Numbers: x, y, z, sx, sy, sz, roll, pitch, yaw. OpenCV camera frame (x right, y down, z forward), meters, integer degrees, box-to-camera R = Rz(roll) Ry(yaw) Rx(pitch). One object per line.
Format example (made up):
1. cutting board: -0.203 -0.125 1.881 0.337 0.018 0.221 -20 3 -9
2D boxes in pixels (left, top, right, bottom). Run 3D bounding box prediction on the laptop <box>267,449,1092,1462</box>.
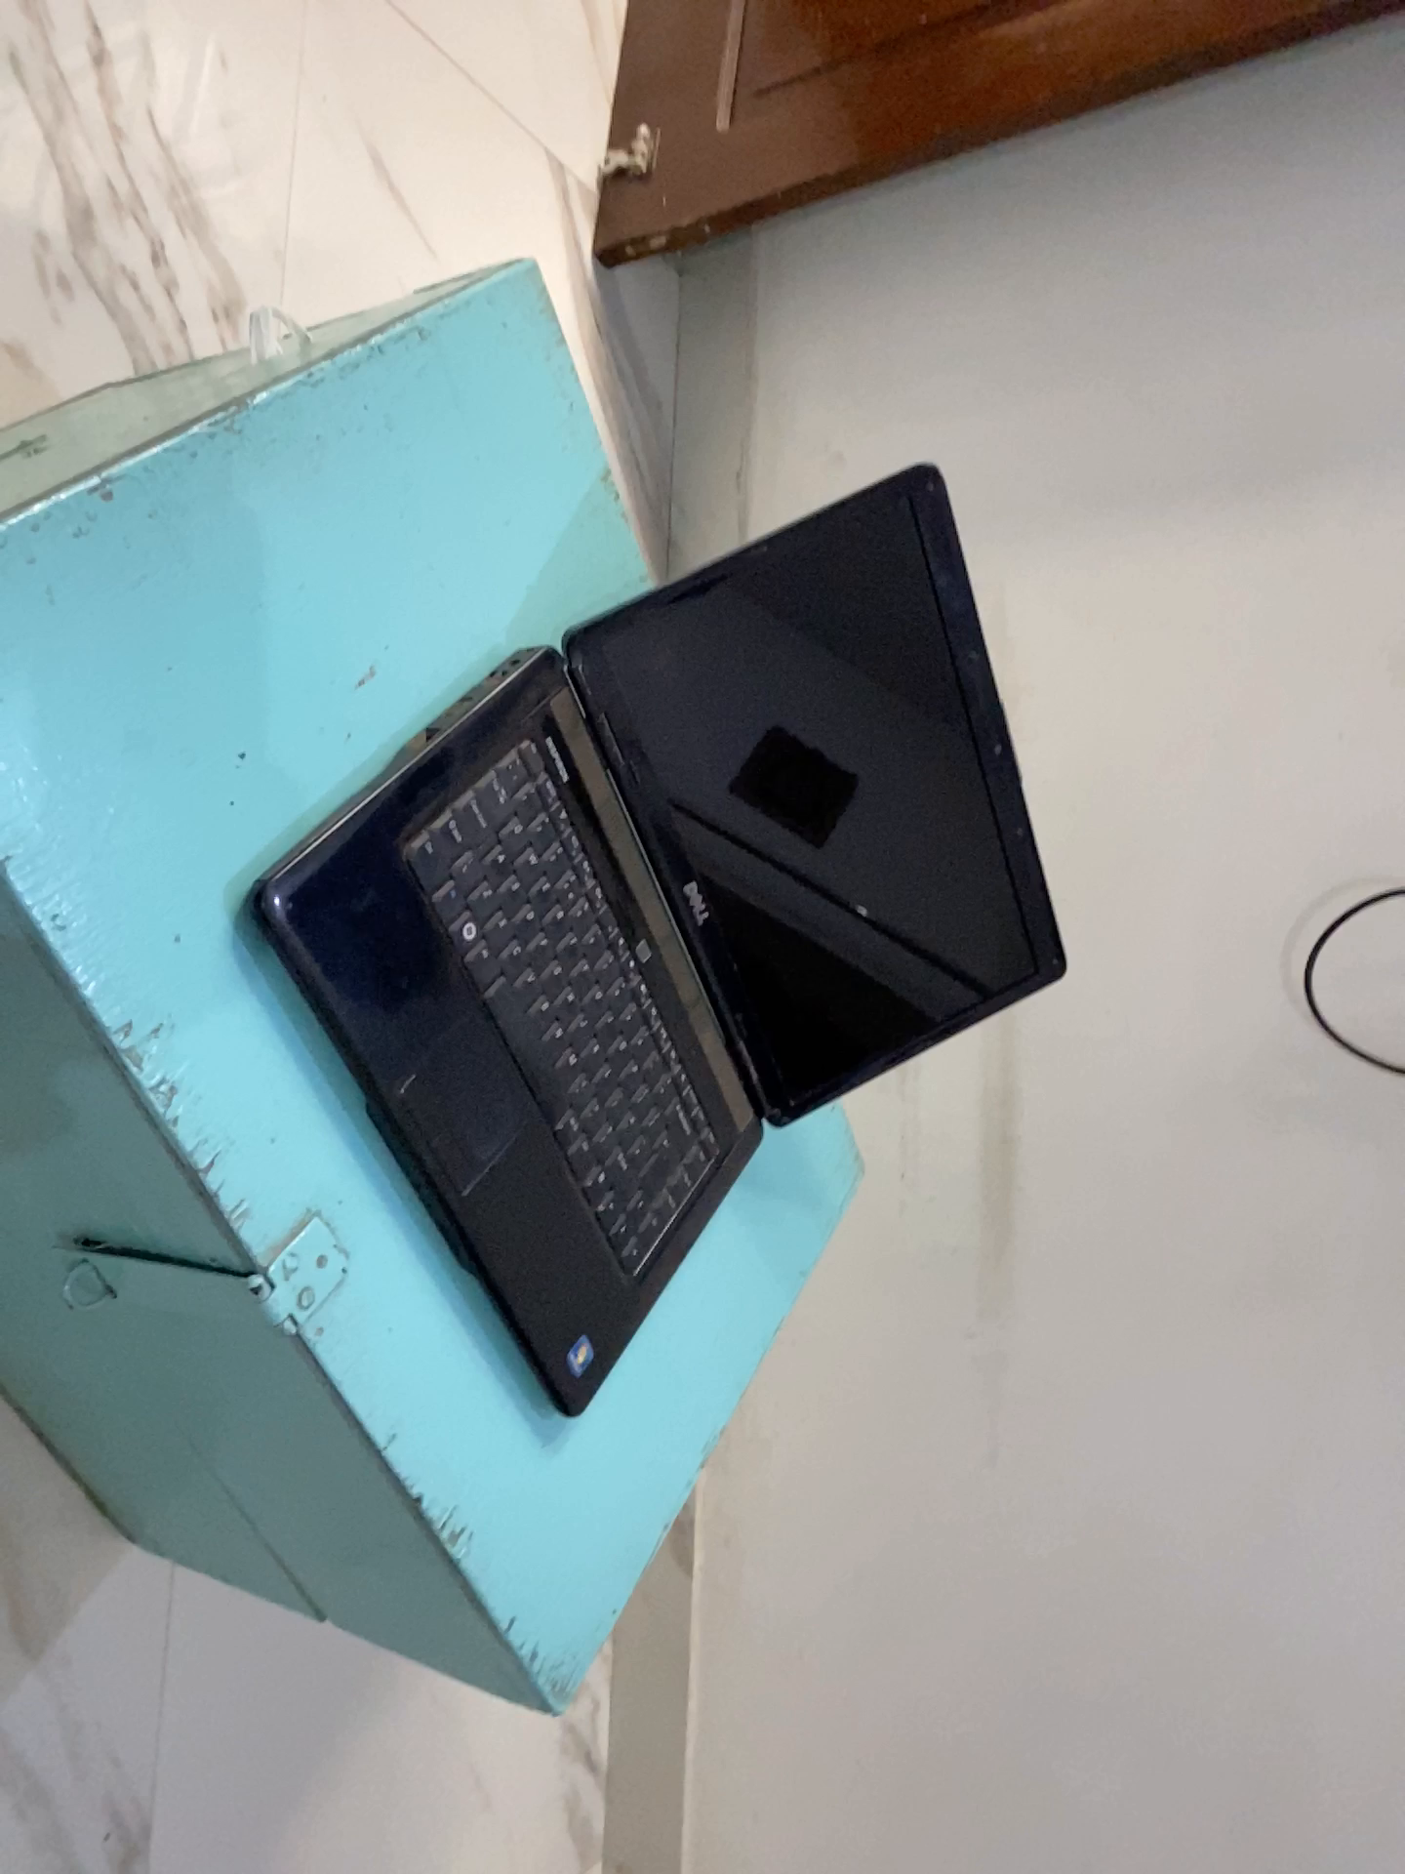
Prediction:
1. laptop: 0.040 -0.001 0.804 0.414 0.162 0.364 -52 132 -39
